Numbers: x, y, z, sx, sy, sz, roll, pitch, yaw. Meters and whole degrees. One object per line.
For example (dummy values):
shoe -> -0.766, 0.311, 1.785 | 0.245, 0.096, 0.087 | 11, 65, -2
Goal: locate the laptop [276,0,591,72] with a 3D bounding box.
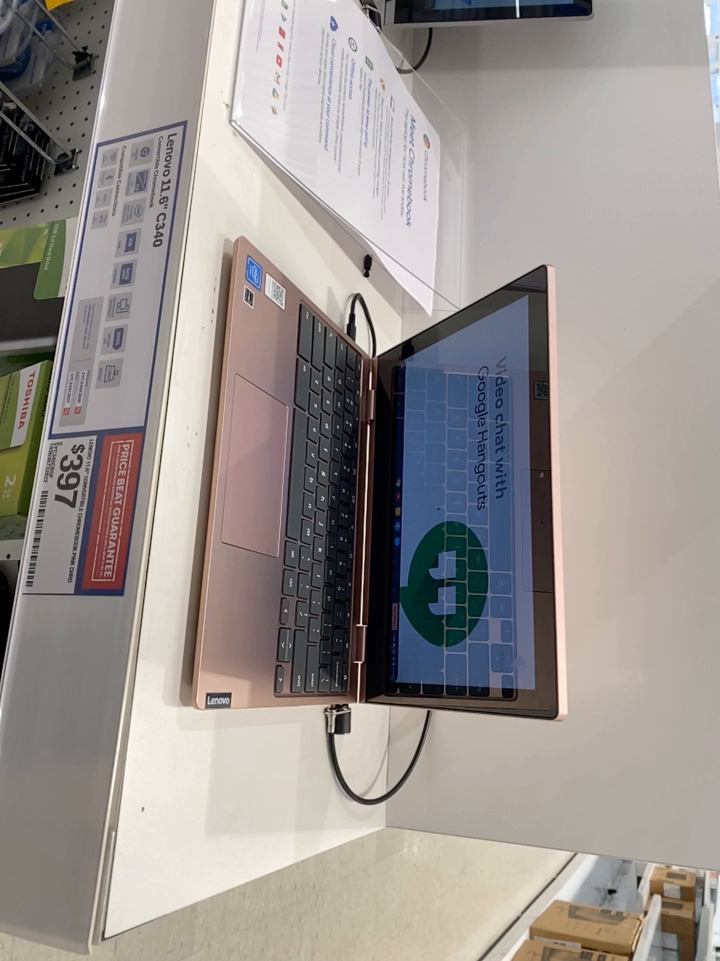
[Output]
laptop -> 0.088, -0.617, 0.667 | 0.266, 0.192, 0.310 | 31, 58, -62

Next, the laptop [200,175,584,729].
laptop -> 0.039, 0.005, 0.479 | 0.197, 0.168, 0.280 | 29, 60, -61
